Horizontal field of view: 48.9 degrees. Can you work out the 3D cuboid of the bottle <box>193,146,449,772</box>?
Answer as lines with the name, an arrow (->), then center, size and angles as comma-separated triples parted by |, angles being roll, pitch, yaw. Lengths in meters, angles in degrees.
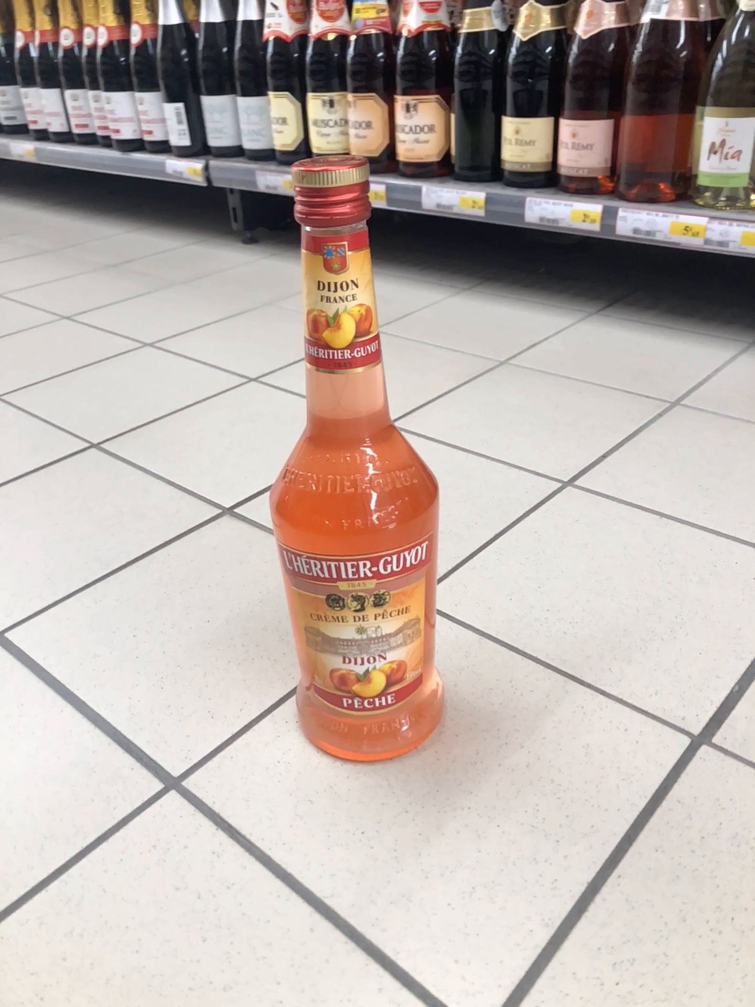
bottle -> -0.012, -0.009, 0.413 | 0.090, 0.298, 0.091 | -3, 29, 1
